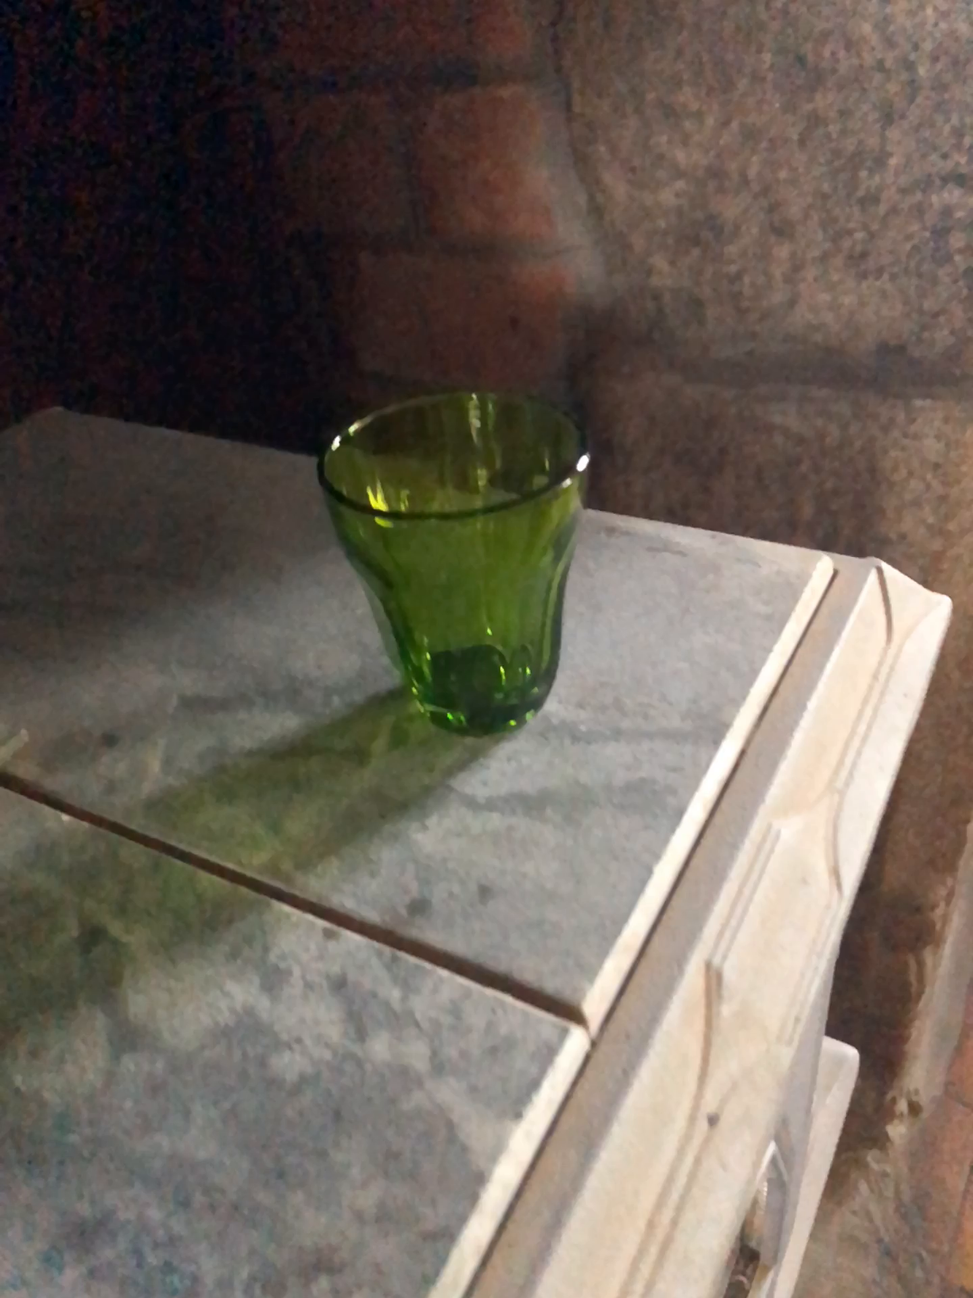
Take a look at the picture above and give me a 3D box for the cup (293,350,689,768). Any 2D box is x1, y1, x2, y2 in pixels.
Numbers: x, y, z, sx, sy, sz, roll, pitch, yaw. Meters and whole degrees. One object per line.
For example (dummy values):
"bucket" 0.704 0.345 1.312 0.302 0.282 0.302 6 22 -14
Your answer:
"cup" 0.007 -0.031 0.316 0.080 0.079 0.081 -4 37 3
